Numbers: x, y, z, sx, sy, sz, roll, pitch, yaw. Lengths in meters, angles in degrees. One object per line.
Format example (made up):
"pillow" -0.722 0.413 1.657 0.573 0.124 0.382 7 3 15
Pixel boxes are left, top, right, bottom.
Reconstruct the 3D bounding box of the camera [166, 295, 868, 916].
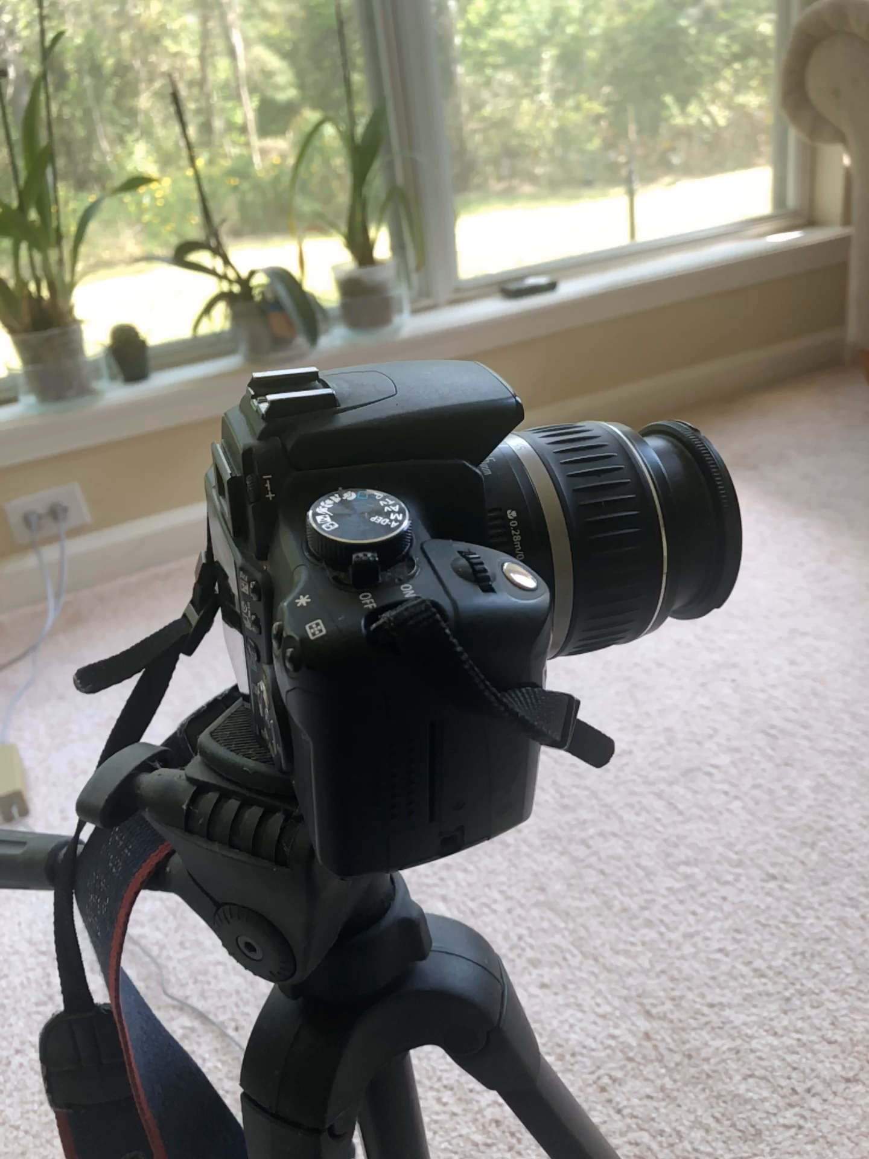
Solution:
"camera" 0.015 -0.010 0.267 0.142 0.093 0.131 -11 33 -20
